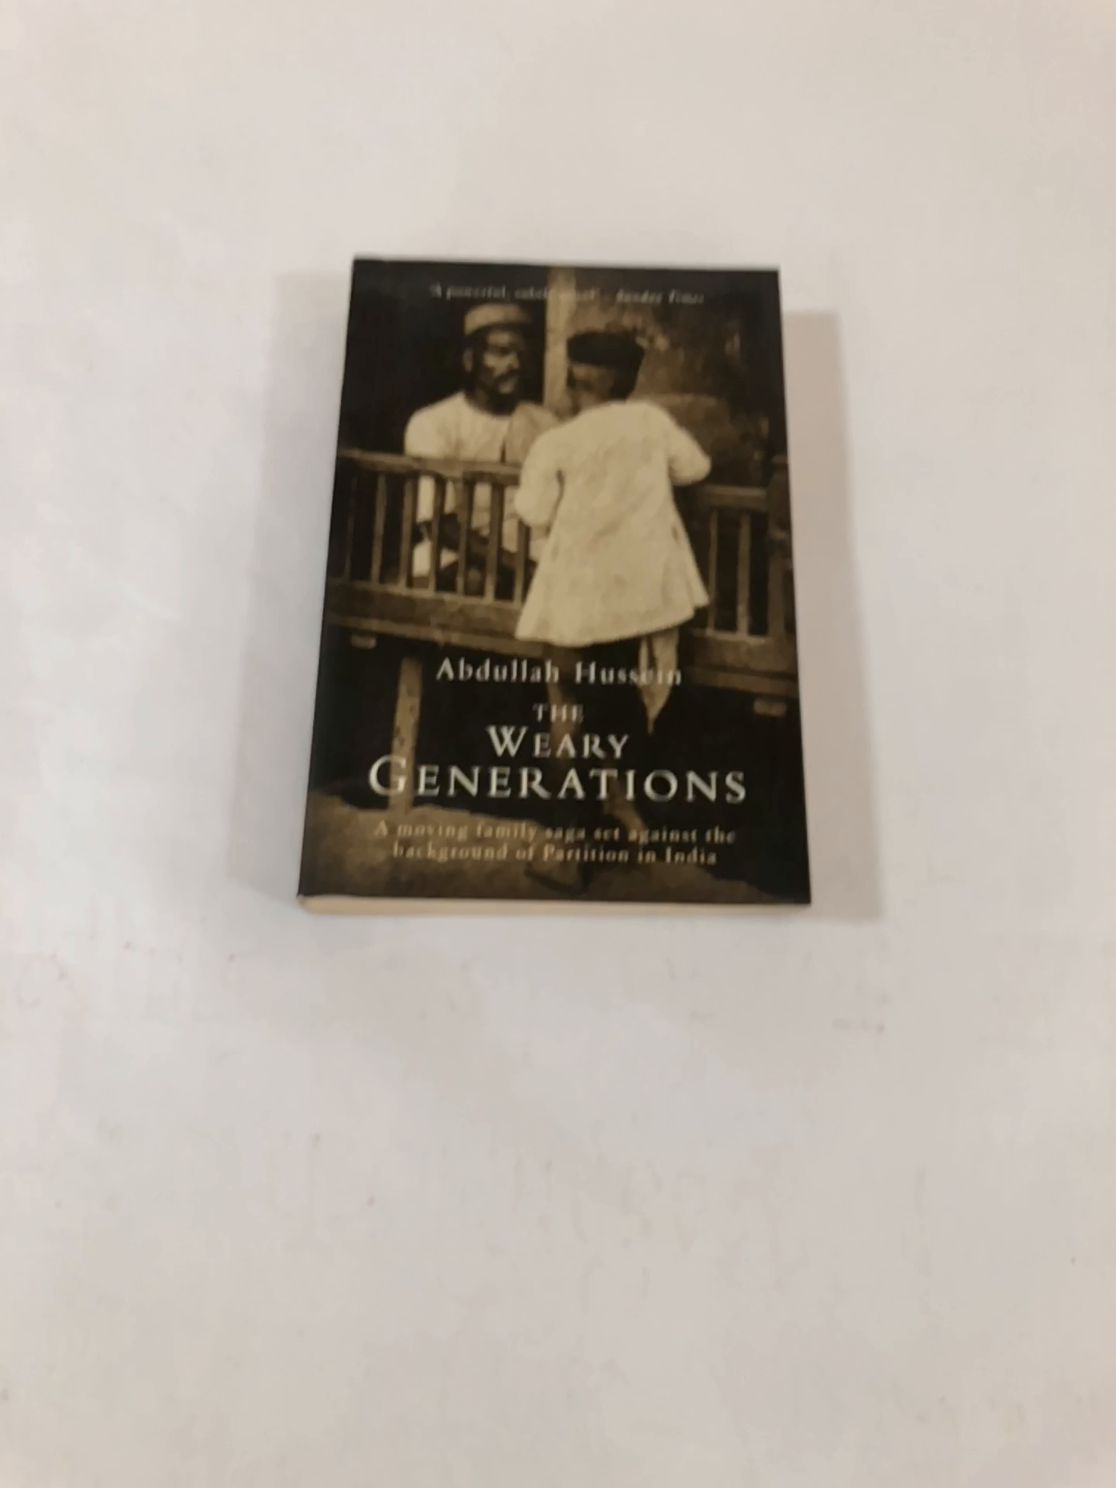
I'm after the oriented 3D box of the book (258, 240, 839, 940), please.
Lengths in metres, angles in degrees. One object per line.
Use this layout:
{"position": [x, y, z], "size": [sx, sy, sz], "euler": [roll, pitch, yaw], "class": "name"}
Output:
{"position": [0.000, -0.049, 0.351], "size": [0.140, 0.030, 0.200], "euler": [1, 70, 0], "class": "book"}
